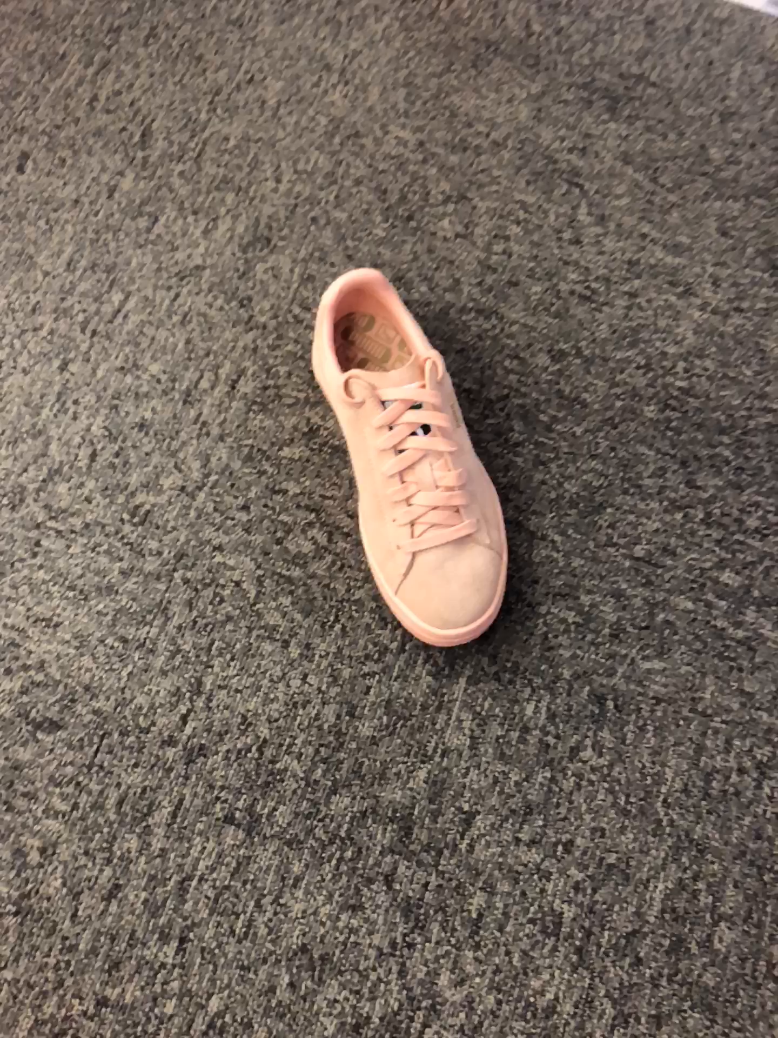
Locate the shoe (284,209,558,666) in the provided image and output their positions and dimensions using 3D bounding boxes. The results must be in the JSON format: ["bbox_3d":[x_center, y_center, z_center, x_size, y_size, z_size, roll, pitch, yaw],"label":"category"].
[{"bbox_3d":[0.012,-0.047,0.532,0.092,0.090,0.253,-14,80,-8],"label":"shoe"}]
